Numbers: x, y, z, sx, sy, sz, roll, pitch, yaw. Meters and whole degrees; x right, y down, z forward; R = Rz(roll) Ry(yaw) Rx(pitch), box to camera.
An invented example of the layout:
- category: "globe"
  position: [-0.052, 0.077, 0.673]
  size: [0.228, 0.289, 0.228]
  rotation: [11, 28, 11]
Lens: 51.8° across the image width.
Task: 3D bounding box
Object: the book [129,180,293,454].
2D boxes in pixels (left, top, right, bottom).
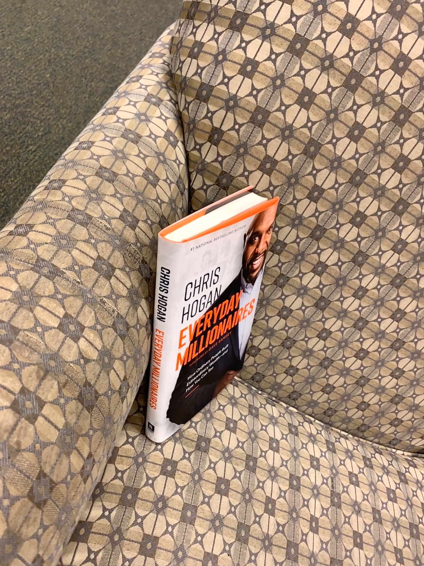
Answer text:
- category: "book"
  position: [-0.005, 0.035, 0.437]
  size: [0.038, 0.244, 0.161]
  rotation: [30, 39, 28]
